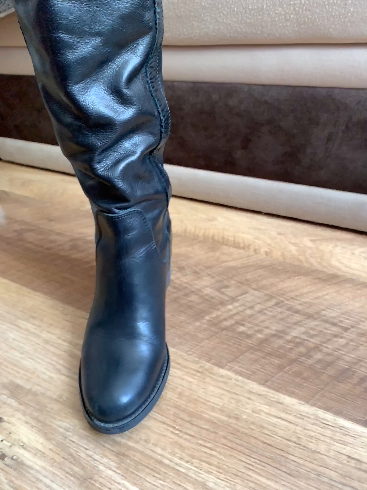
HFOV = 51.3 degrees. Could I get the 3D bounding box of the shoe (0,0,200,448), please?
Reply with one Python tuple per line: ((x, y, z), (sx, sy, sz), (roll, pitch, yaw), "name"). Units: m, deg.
((-0.056, -0.116, 0.242), (0.100, 0.497, 0.211), (0, 33, 7), "shoe")
